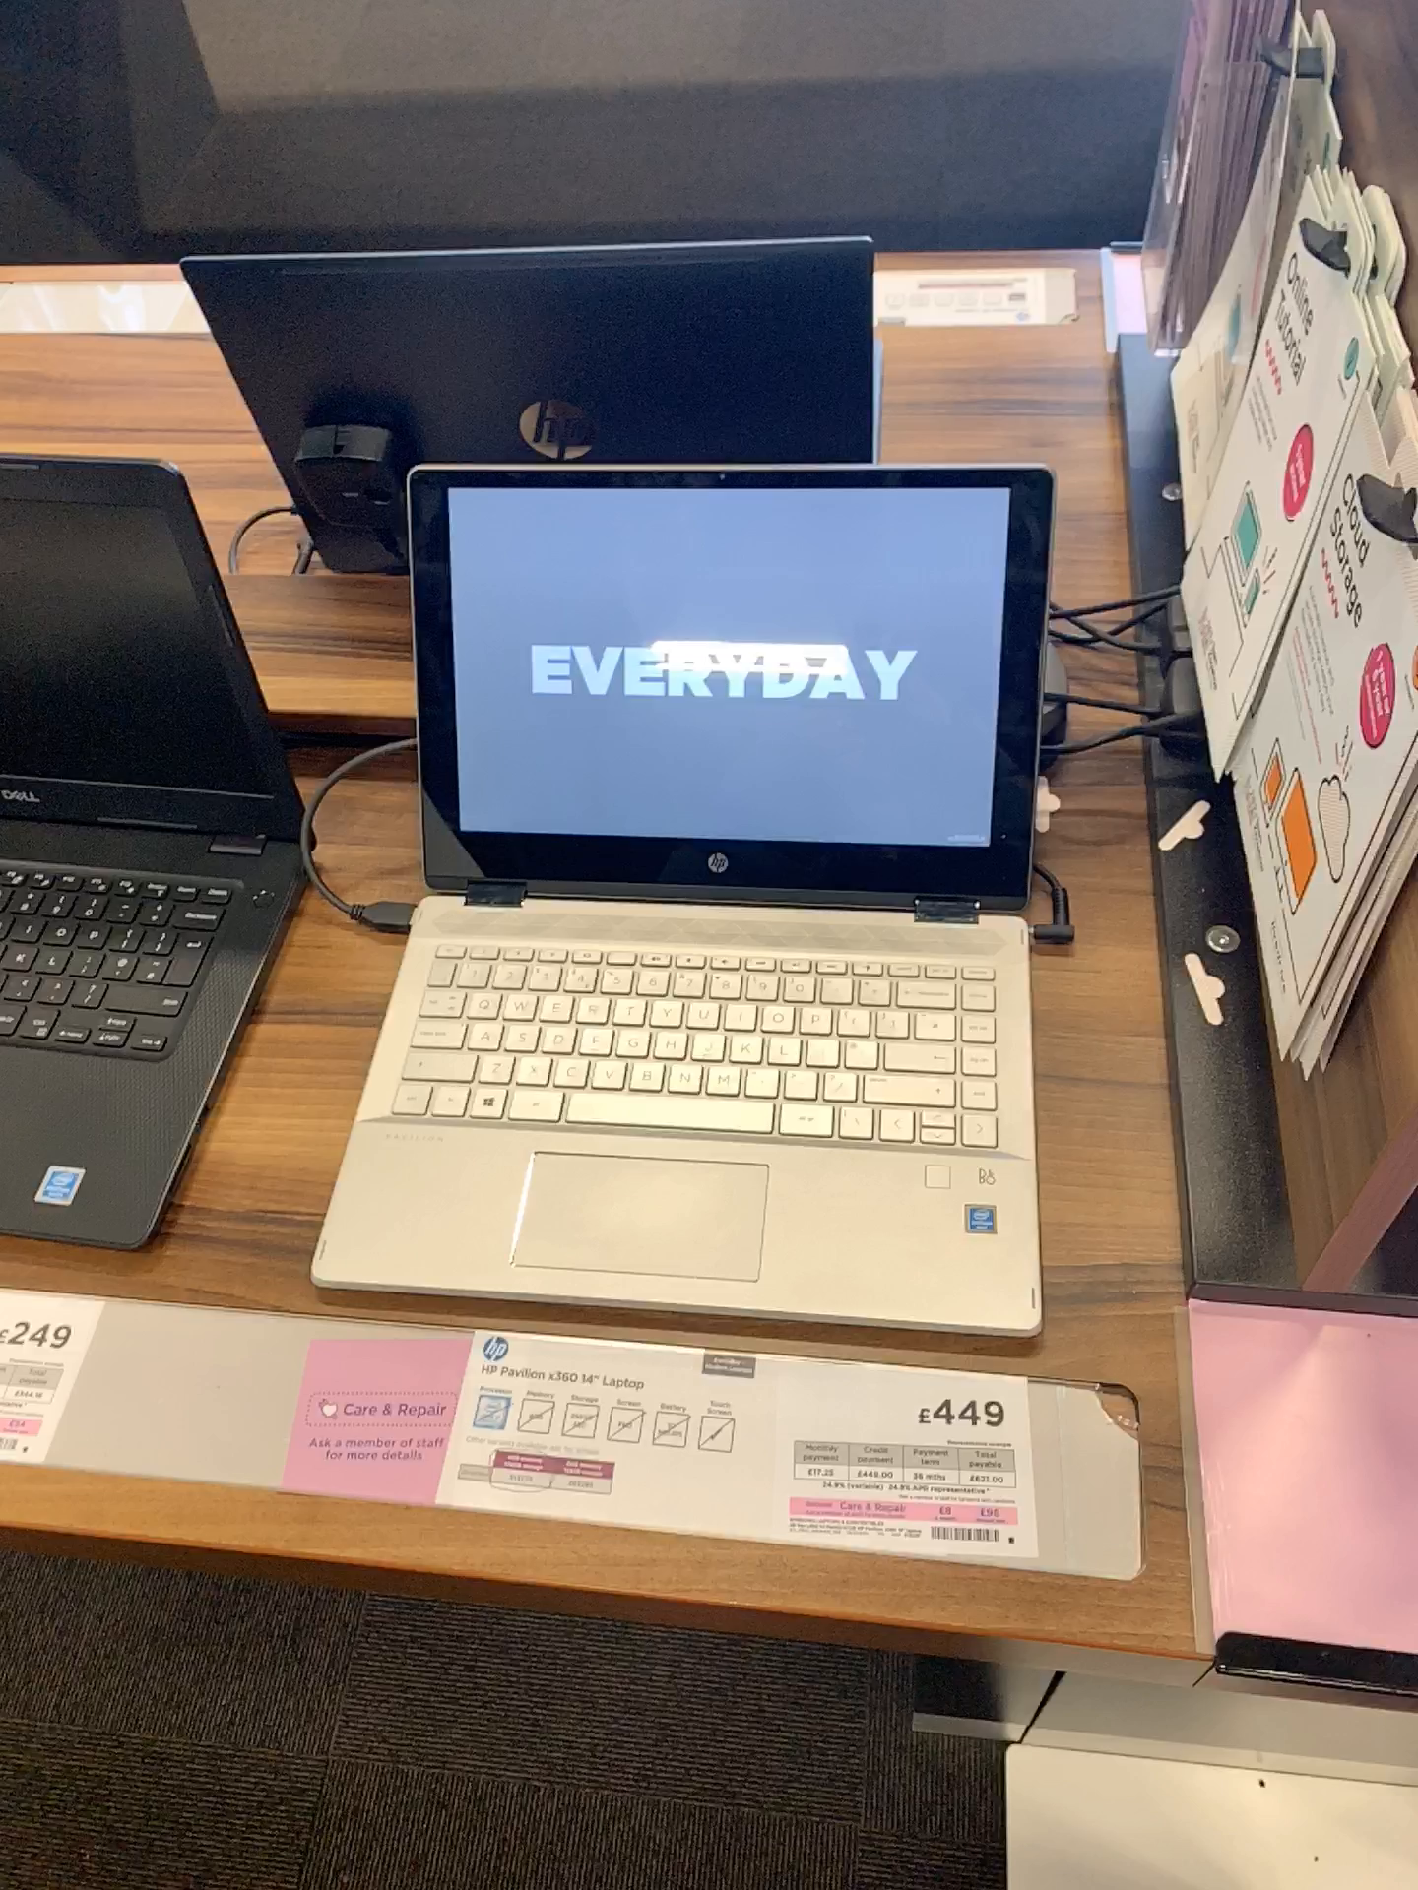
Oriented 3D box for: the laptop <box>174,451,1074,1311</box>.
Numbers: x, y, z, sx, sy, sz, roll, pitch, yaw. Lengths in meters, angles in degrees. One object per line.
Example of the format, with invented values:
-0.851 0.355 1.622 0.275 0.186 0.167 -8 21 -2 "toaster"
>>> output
-0.011 -0.048 0.664 0.313 0.154 0.363 2 54 8 "laptop"
